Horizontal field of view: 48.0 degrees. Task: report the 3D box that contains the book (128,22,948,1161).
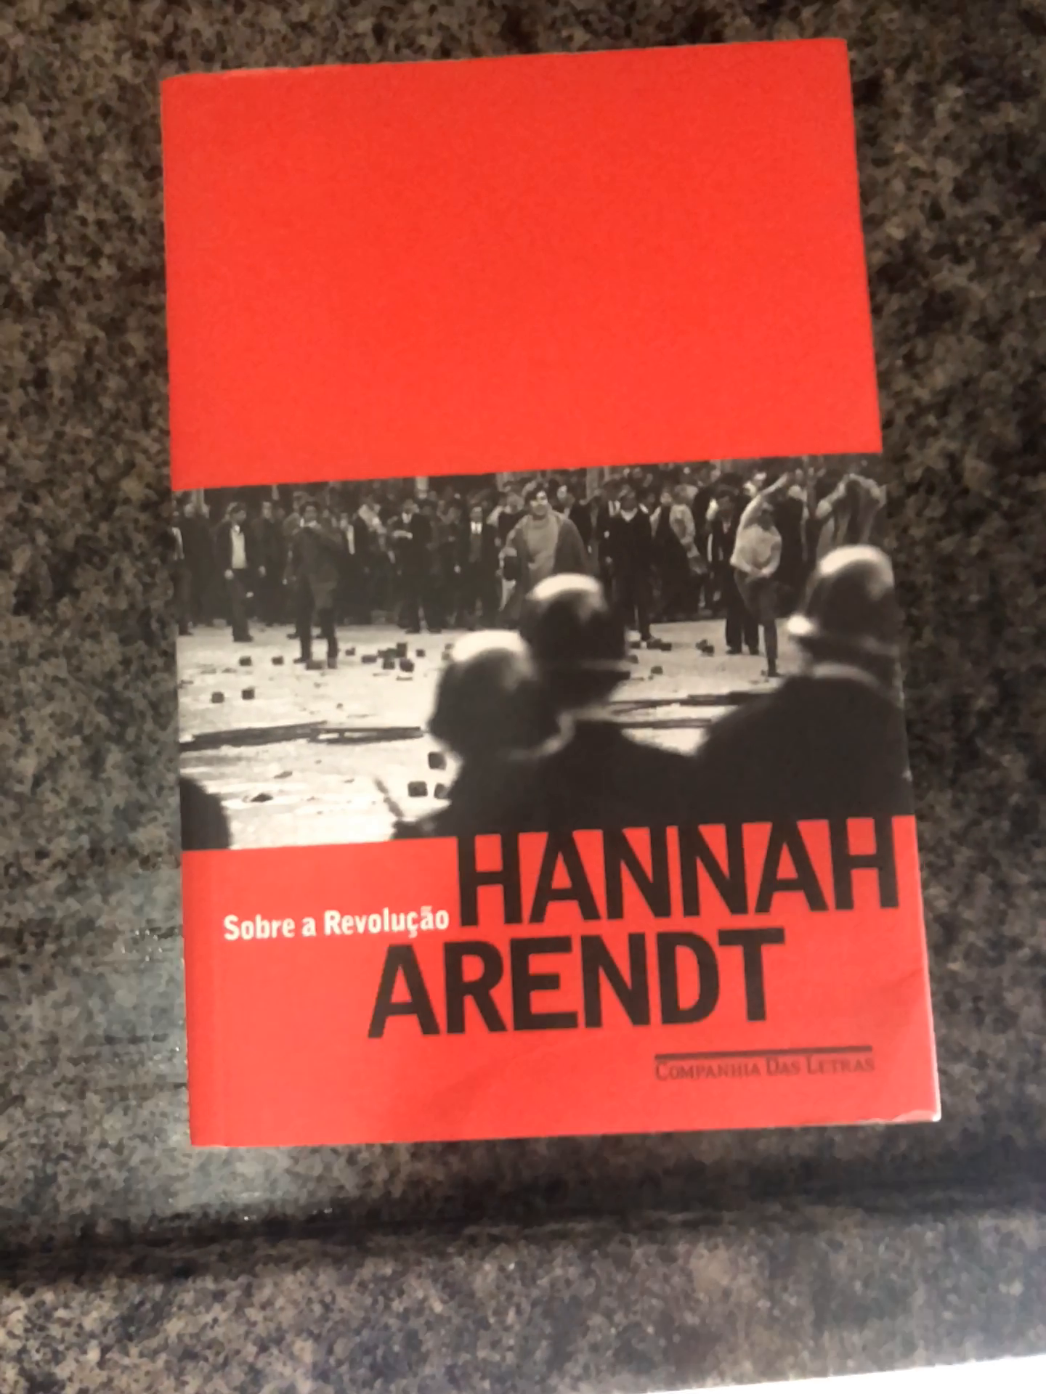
[{"bbox_3d":[-0.001,-0.022,0.236,0.145,0.030,0.210,-3,85,2],"label":"book"}]
